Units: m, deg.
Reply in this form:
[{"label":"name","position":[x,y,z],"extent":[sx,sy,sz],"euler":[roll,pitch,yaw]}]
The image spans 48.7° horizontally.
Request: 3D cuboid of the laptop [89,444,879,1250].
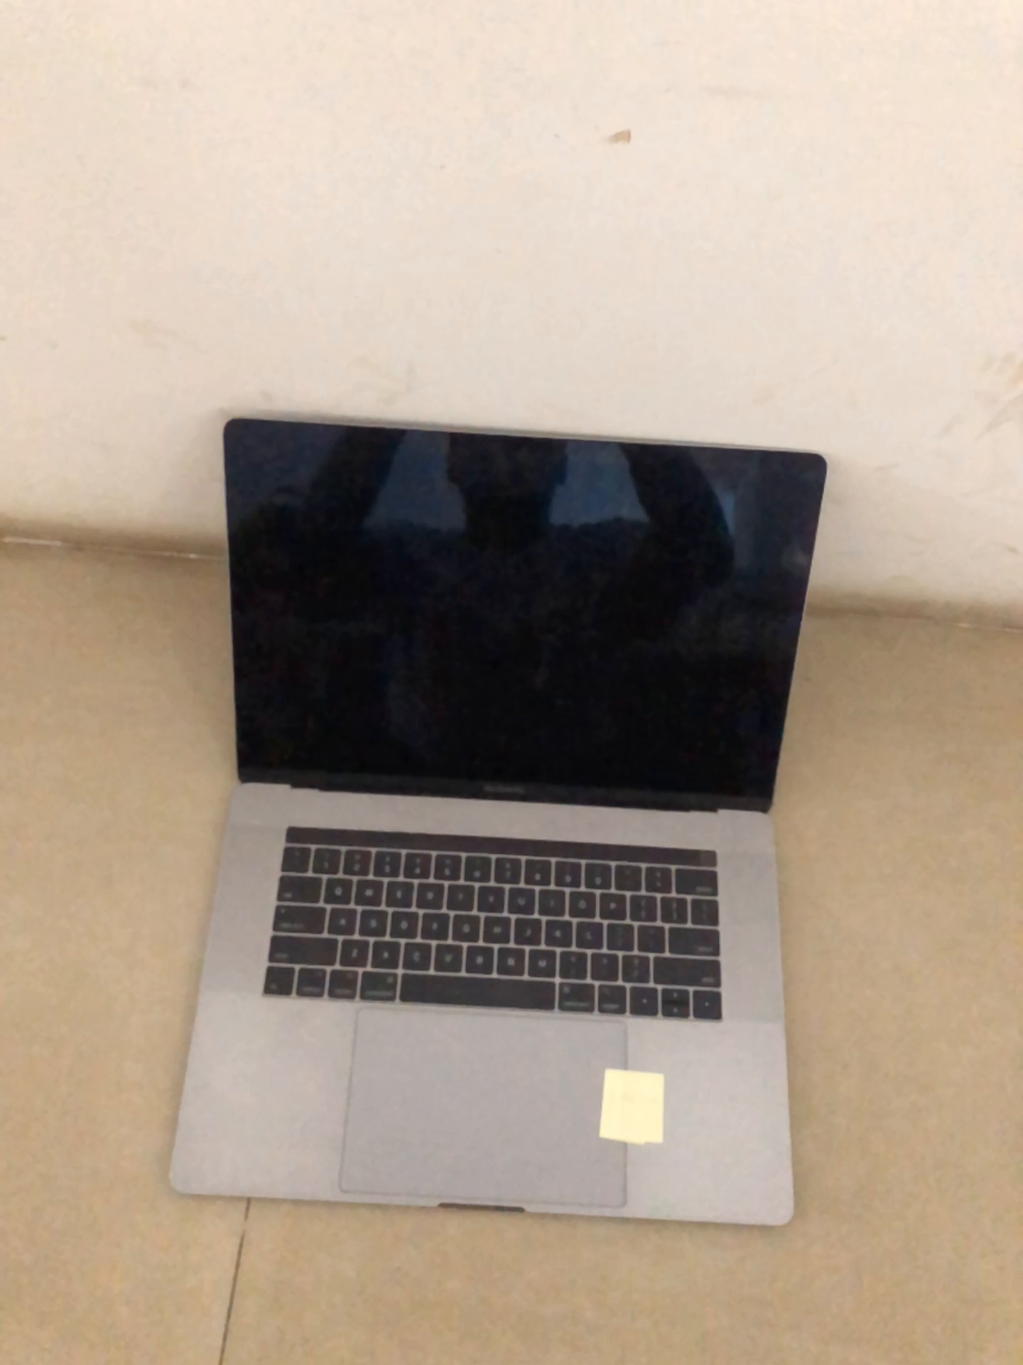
[{"label":"laptop","position":[-0.004,0.086,0.621],"extent":[0.329,0.163,0.381],"euler":[4,65,0]}]
